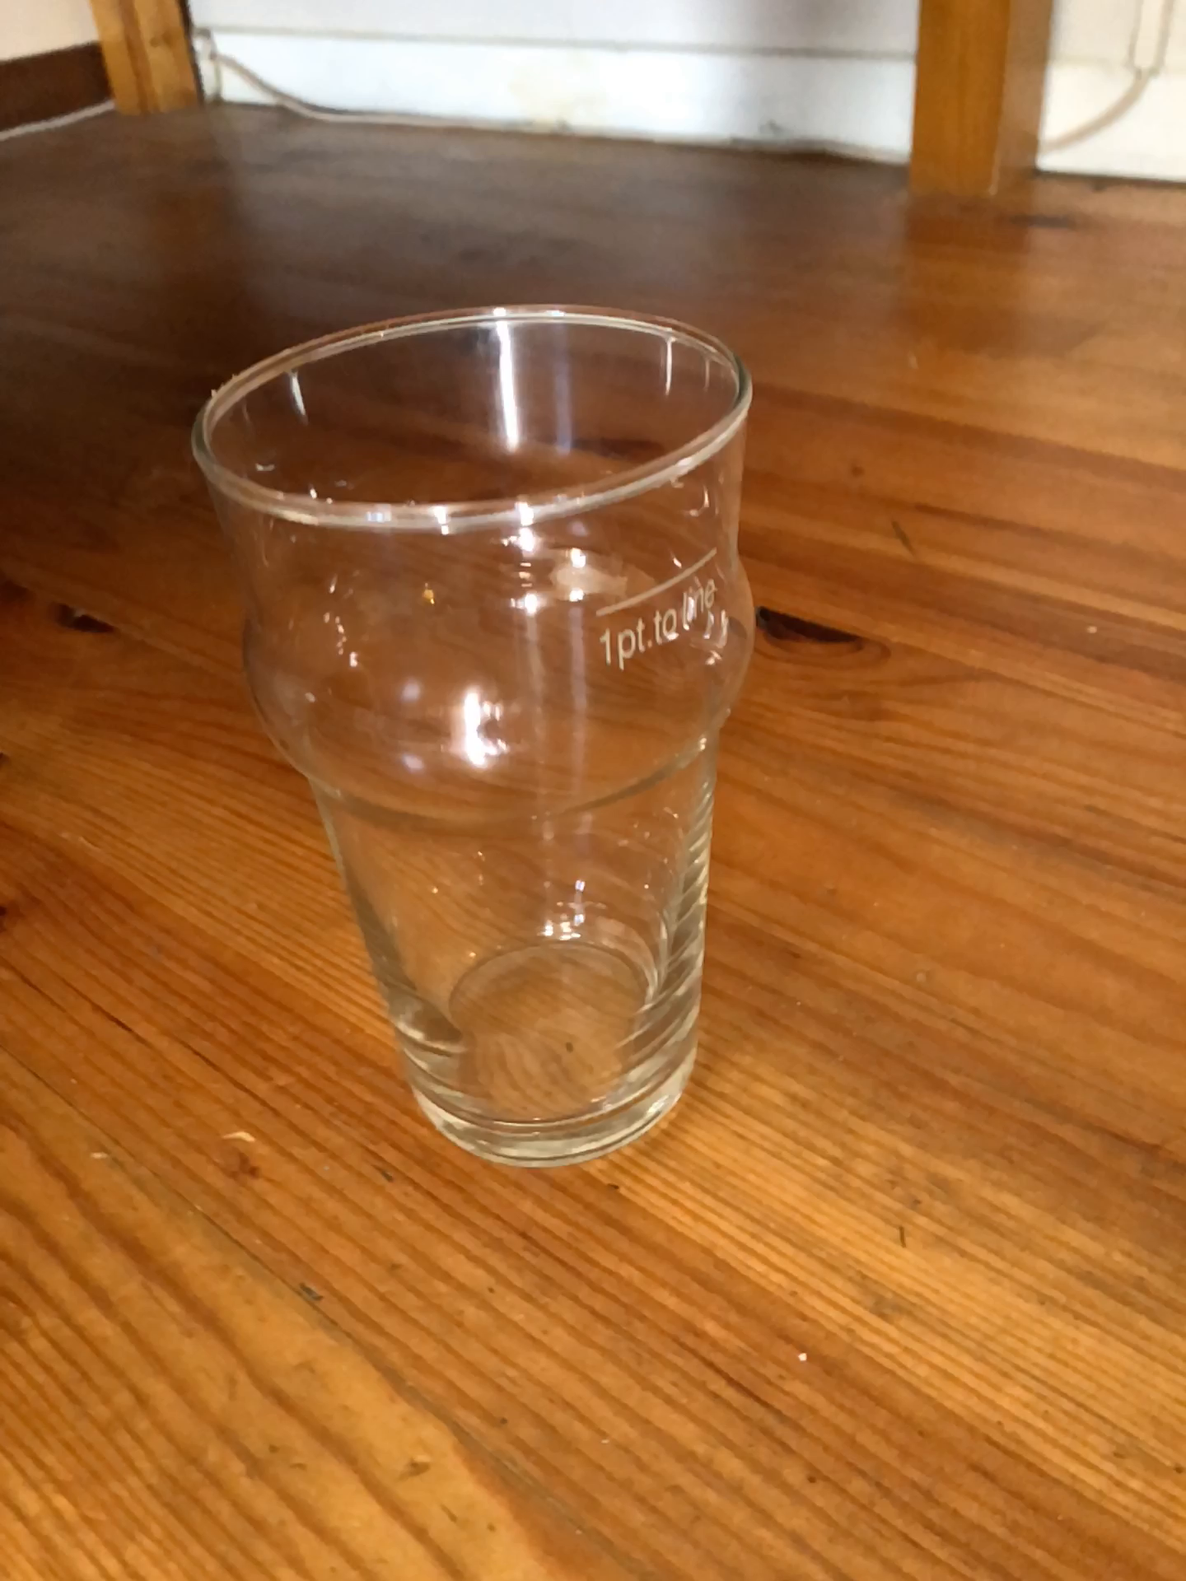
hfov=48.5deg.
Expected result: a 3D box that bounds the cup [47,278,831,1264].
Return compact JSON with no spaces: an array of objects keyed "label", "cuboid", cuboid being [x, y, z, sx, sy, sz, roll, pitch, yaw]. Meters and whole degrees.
[{"label":"cup","cuboid":[-0.020,-0.006,0.264,0.091,0.151,0.095,-1,38,1]}]
